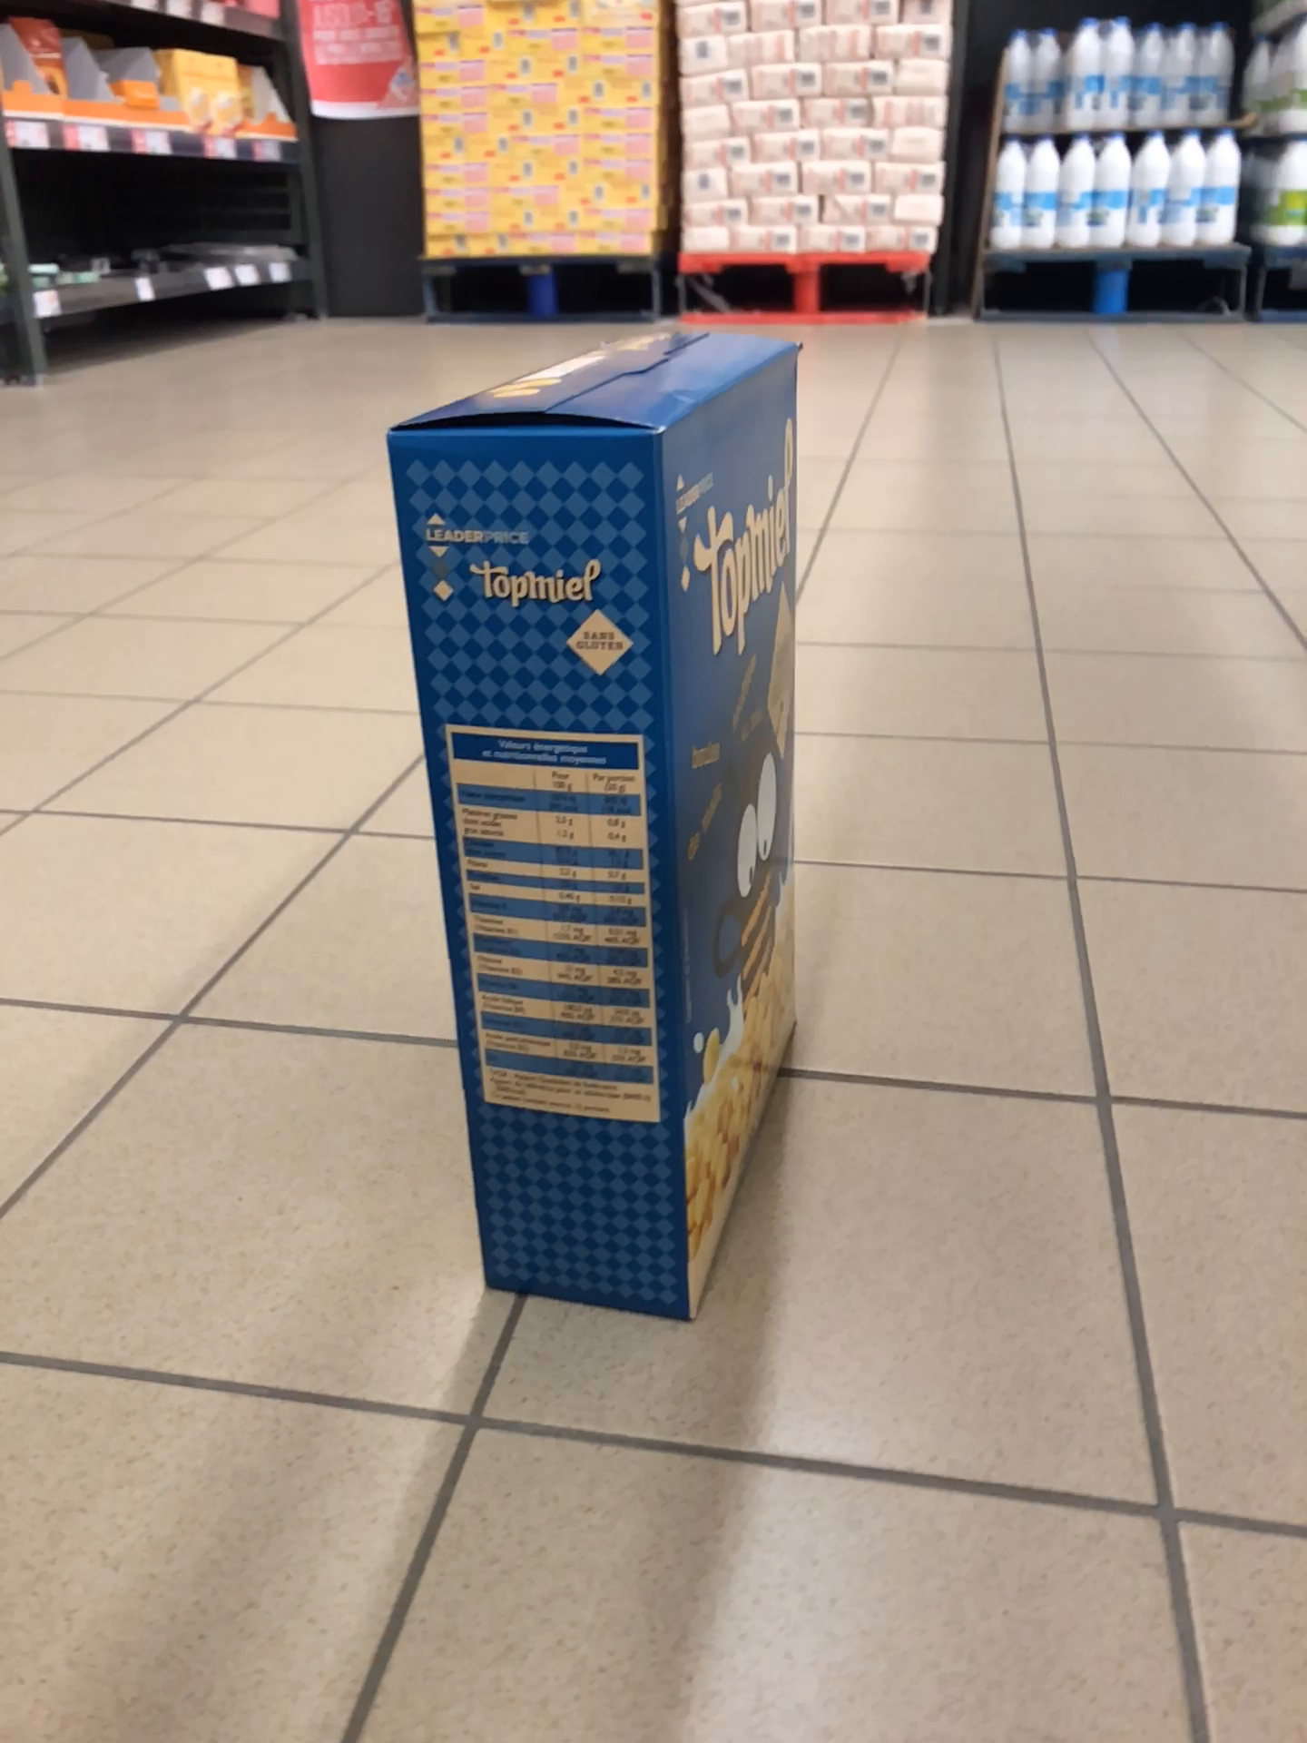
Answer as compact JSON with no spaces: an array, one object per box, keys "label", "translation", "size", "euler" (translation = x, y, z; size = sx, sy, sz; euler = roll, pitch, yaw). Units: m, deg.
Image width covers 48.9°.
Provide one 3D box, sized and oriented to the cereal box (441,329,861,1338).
[{"label":"cereal box","translation":[0.013,-0.026,0.488],"size":[0.080,0.279,0.201],"euler":[5,25,13]}]
